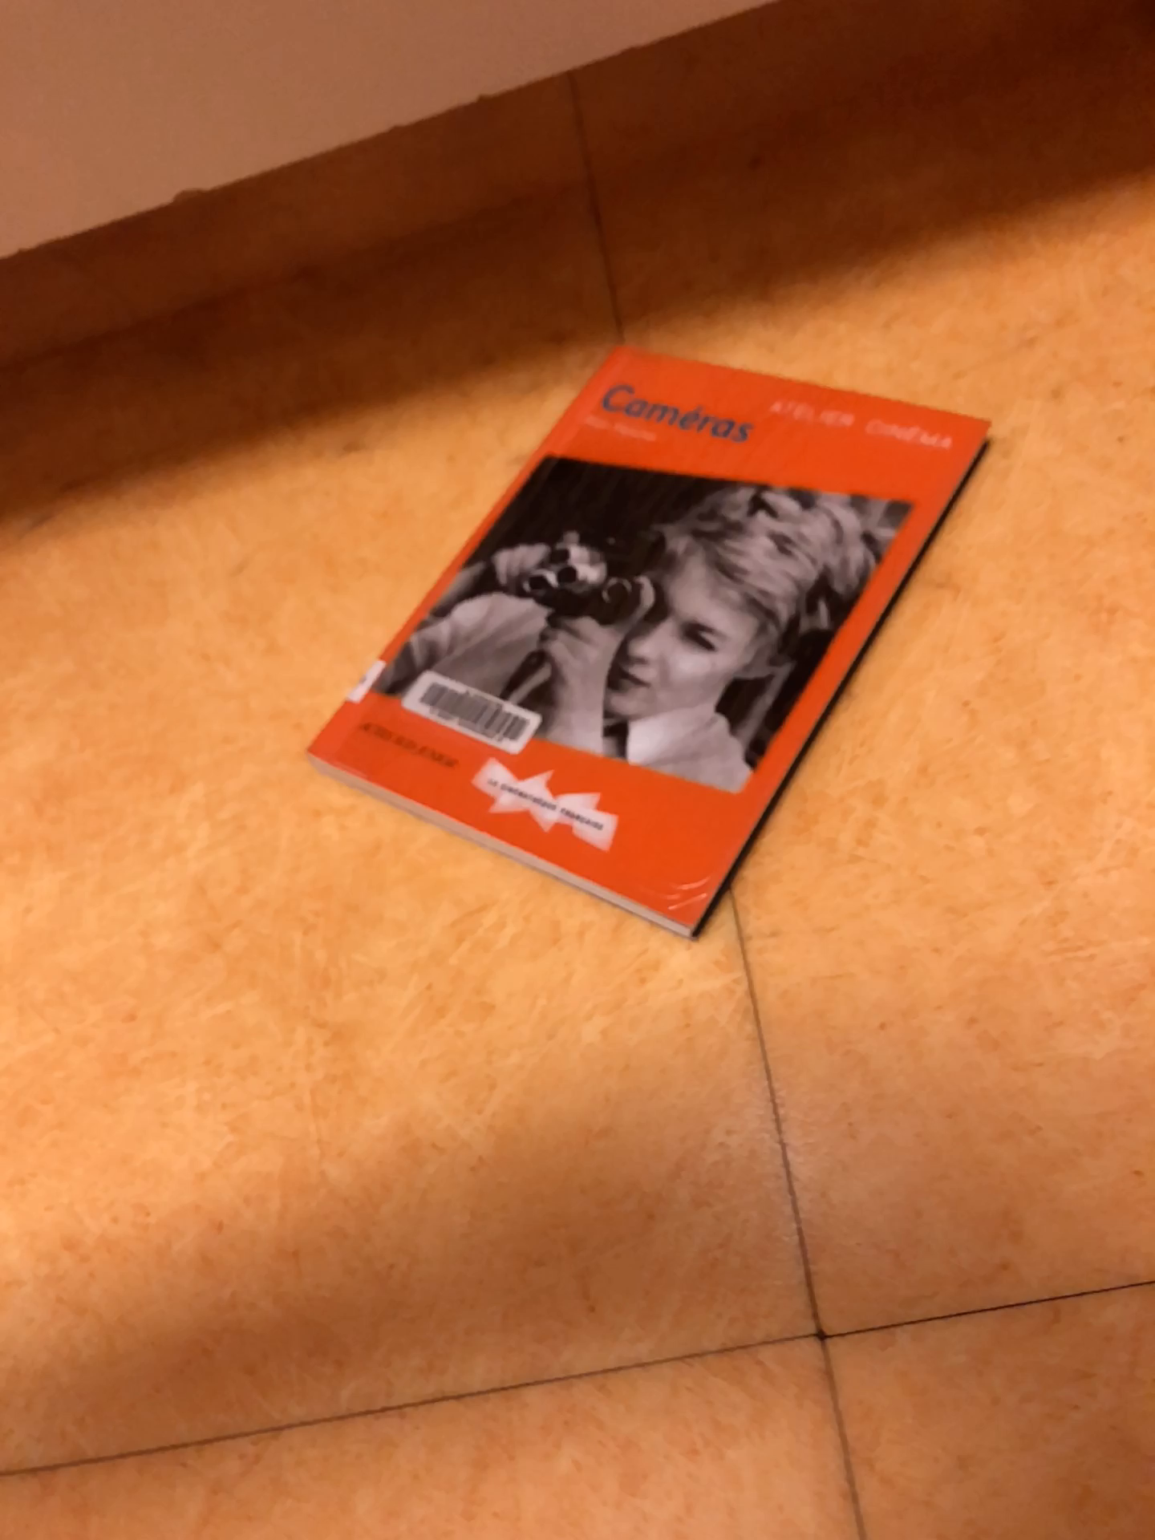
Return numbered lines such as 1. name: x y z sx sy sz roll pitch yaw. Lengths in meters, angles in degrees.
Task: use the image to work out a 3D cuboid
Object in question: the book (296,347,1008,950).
1. book: 0.026 -0.057 0.426 0.155 0.011 0.206 21 65 30
